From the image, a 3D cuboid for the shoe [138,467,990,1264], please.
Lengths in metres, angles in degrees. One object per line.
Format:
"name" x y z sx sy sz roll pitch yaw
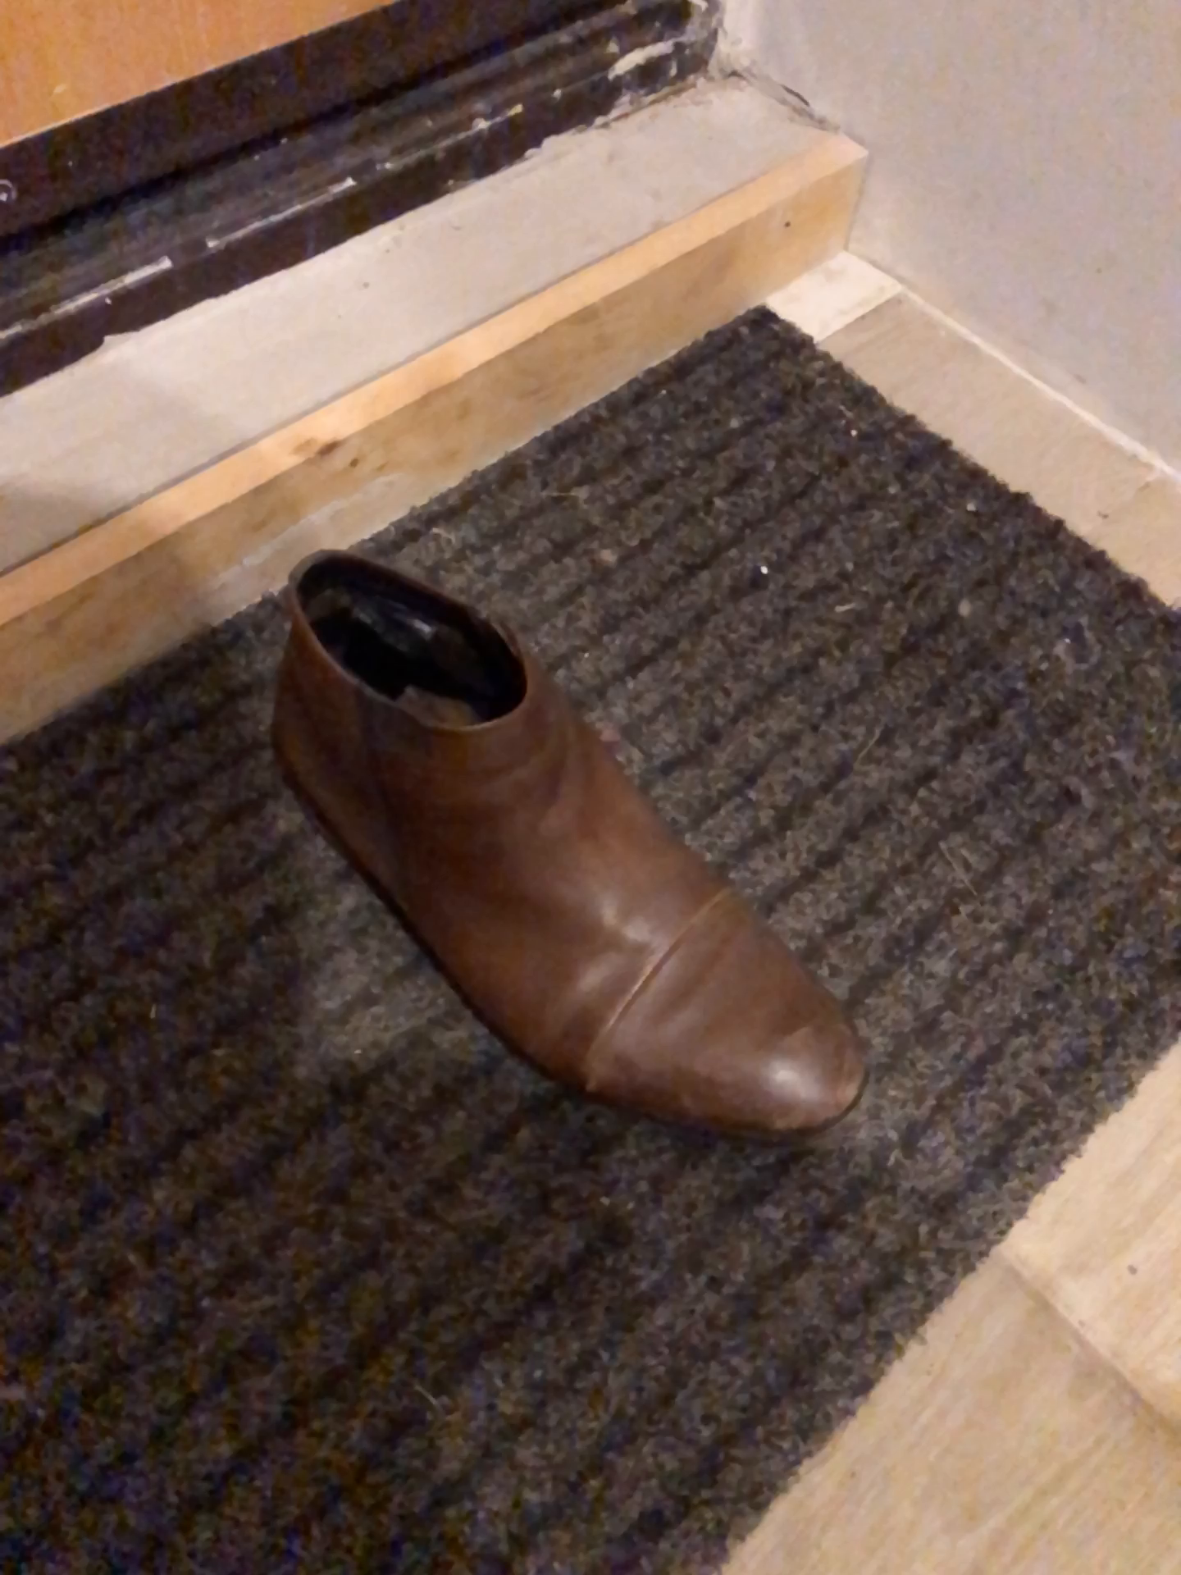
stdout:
"shoe" -0.021 0.025 0.507 0.300 0.129 0.110 37 62 18
